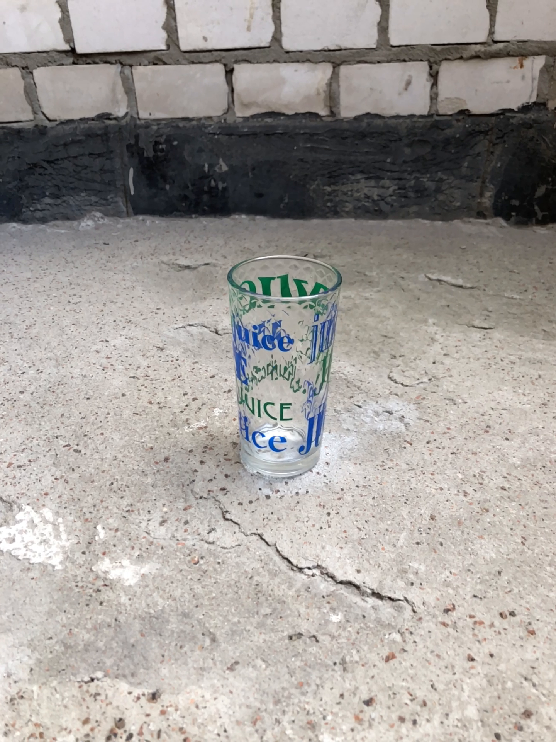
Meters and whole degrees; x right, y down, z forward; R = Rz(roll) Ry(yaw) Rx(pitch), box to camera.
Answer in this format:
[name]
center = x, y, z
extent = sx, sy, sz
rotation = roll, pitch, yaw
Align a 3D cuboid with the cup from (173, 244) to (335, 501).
[cup]
center = -0.010, -0.001, 0.363
extent = 0.067, 0.125, 0.066
rotation = 0, 30, 0
